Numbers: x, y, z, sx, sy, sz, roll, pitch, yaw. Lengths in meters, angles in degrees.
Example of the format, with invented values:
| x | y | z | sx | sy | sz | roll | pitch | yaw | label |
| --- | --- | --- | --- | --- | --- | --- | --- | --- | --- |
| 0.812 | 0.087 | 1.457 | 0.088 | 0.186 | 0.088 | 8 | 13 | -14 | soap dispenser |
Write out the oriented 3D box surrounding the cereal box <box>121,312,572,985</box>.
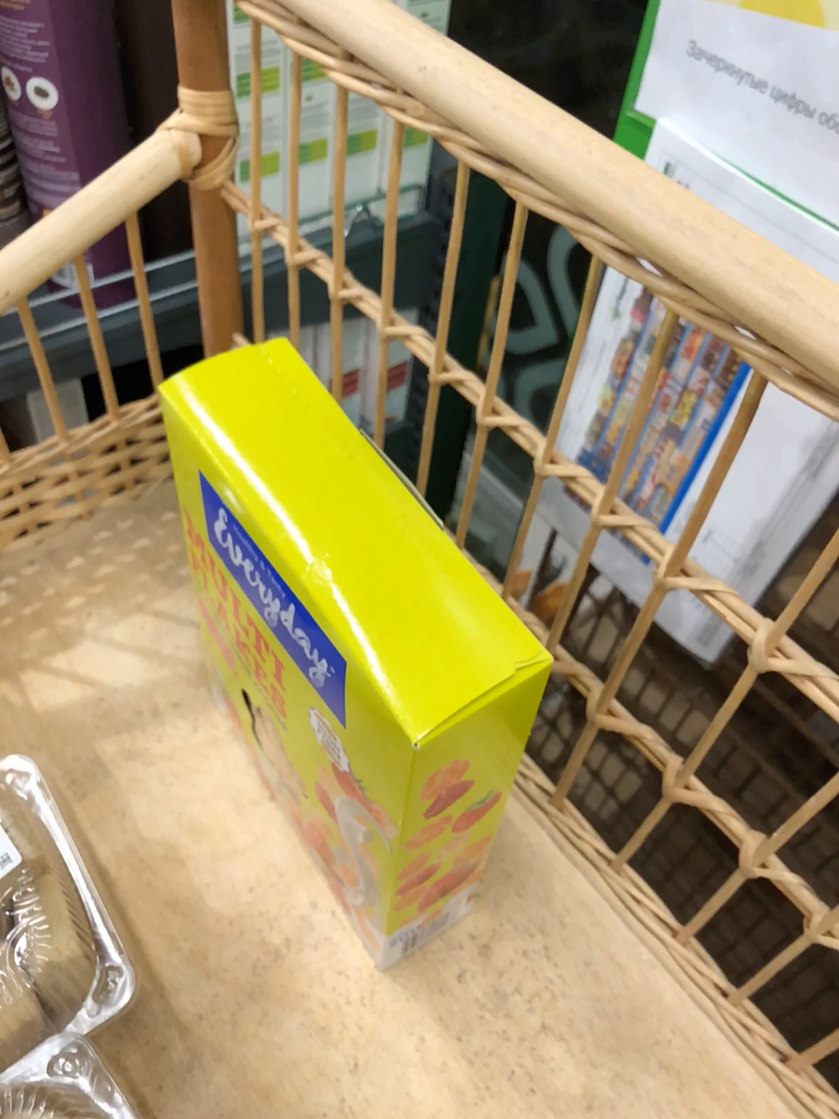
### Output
| x | y | z | sx | sy | sz | roll | pitch | yaw | label |
| --- | --- | --- | --- | --- | --- | --- | --- | --- | --- |
| -0.040 | 0.050 | 0.391 | 0.060 | 0.229 | 0.180 | -26 | 59 | -23 | cereal box |
